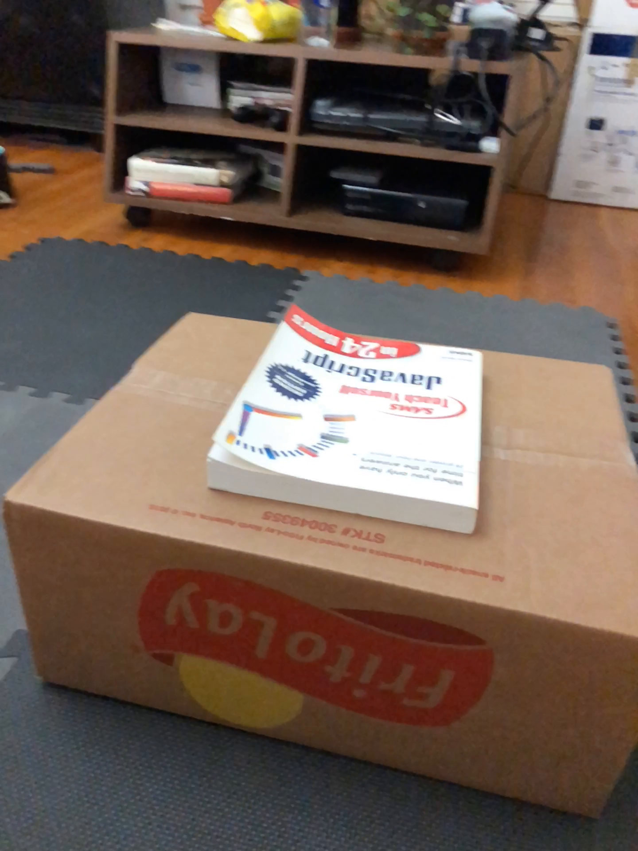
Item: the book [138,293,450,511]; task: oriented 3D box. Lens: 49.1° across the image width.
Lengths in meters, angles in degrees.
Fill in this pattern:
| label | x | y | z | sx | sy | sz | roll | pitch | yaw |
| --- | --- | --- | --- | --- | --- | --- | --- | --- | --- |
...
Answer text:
| label | x | y | z | sx | sy | sz | roll | pitch | yaw |
| --- | --- | --- | --- | --- | --- | --- | --- | --- | --- |
| book | -0.002 | -0.035 | 0.568 | 0.200 | 0.030 | 0.241 | 8 | 35 | 8 |
